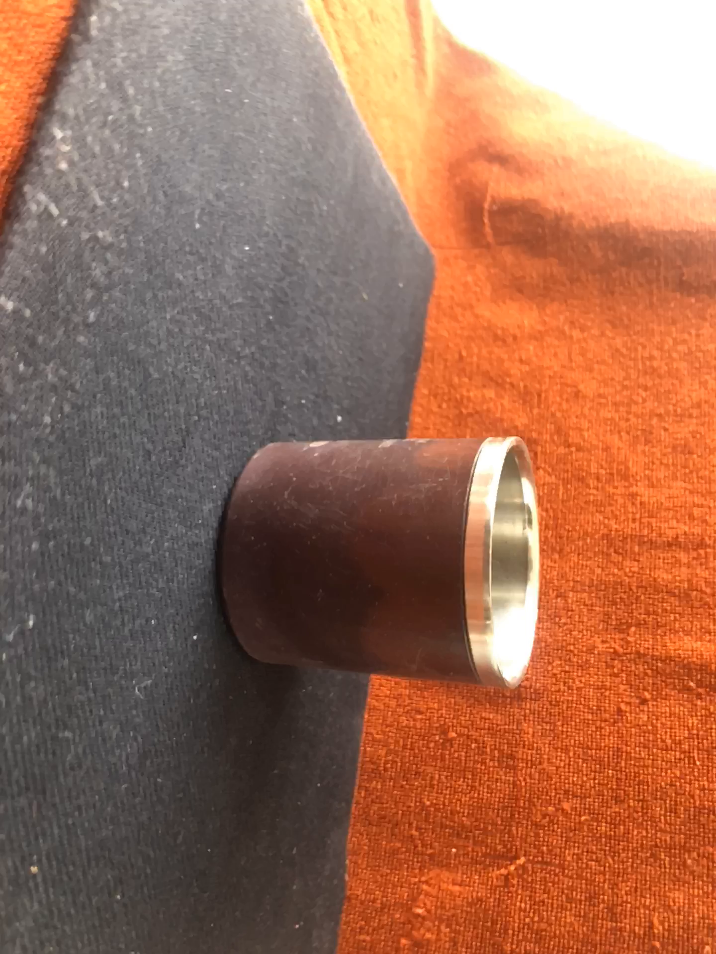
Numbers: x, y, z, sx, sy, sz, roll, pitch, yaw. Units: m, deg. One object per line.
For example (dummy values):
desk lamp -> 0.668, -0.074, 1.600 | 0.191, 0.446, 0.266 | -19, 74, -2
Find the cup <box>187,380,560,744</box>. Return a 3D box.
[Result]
cup -> 0.017, 0.035, 0.289 | 0.111, 0.089, 0.090 | 54, 42, -56
